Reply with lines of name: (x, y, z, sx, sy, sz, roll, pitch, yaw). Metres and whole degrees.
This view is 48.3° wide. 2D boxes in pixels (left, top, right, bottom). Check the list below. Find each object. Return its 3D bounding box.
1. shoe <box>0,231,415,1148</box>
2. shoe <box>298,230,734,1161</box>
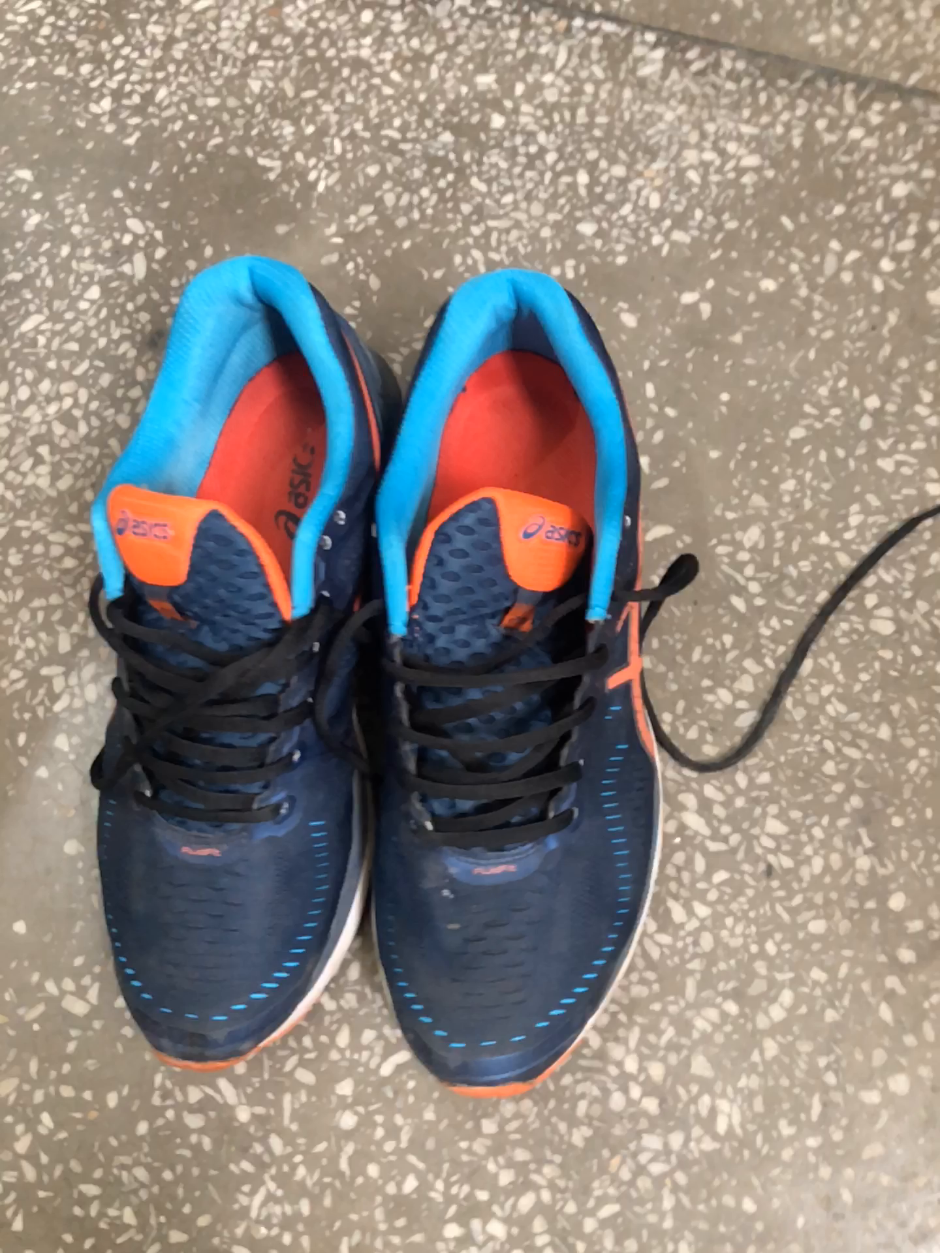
shoe: (-0.092, 0.015, 0.375, 0.118, 0.100, 0.288, 2, 75, 3)
shoe: (0.017, 0.017, 0.369, 0.118, 0.100, 0.288, 0, 75, 3)
